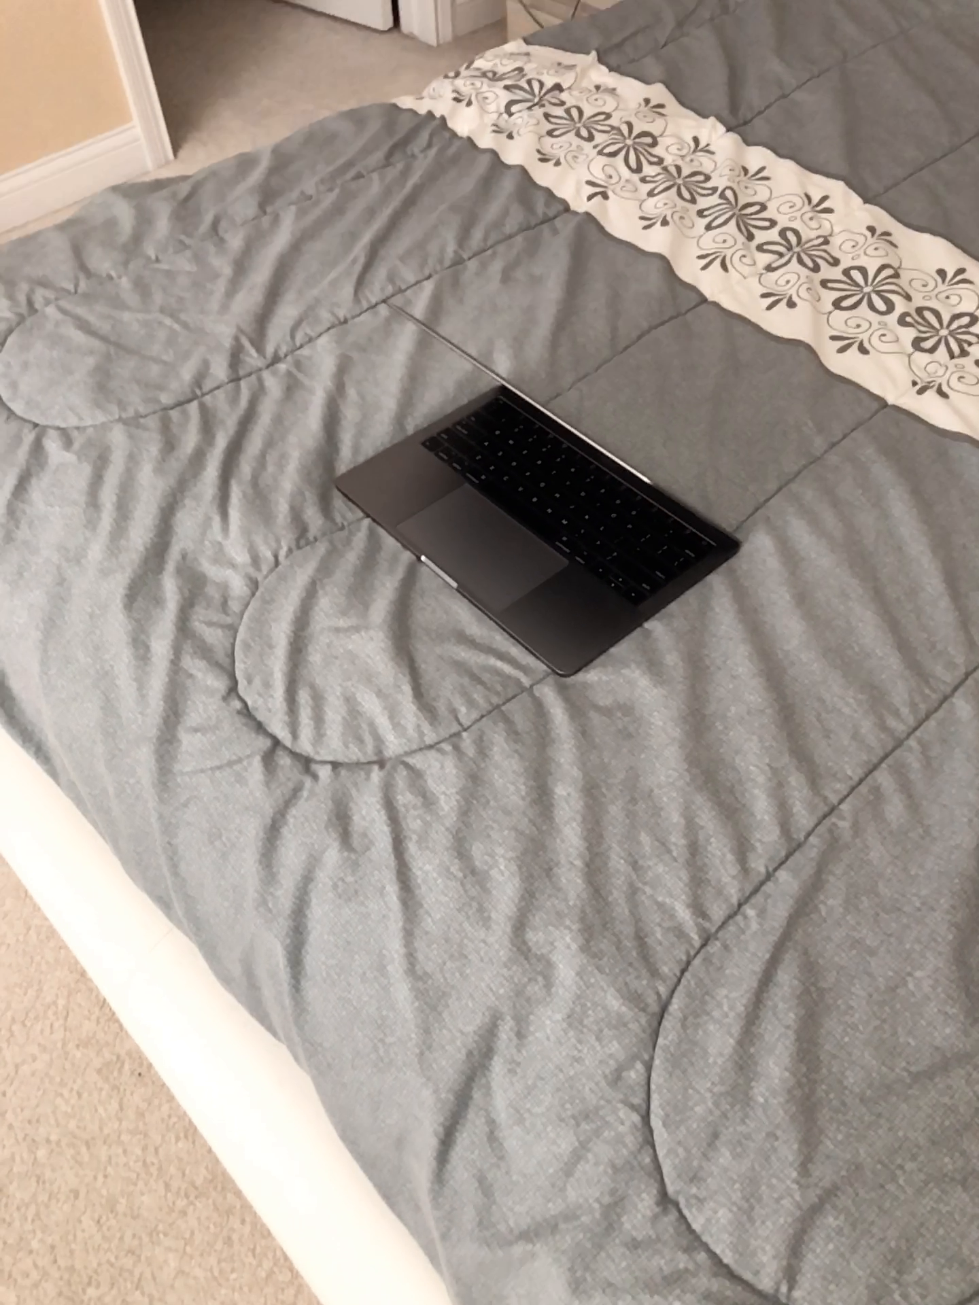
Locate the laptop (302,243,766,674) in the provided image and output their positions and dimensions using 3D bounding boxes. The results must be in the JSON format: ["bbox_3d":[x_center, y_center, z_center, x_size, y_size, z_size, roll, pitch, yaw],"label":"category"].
[{"bbox_3d":[0.028,-0.159,0.822,0.195,0.140,0.279,-35,57,-24],"label":"laptop"}]
